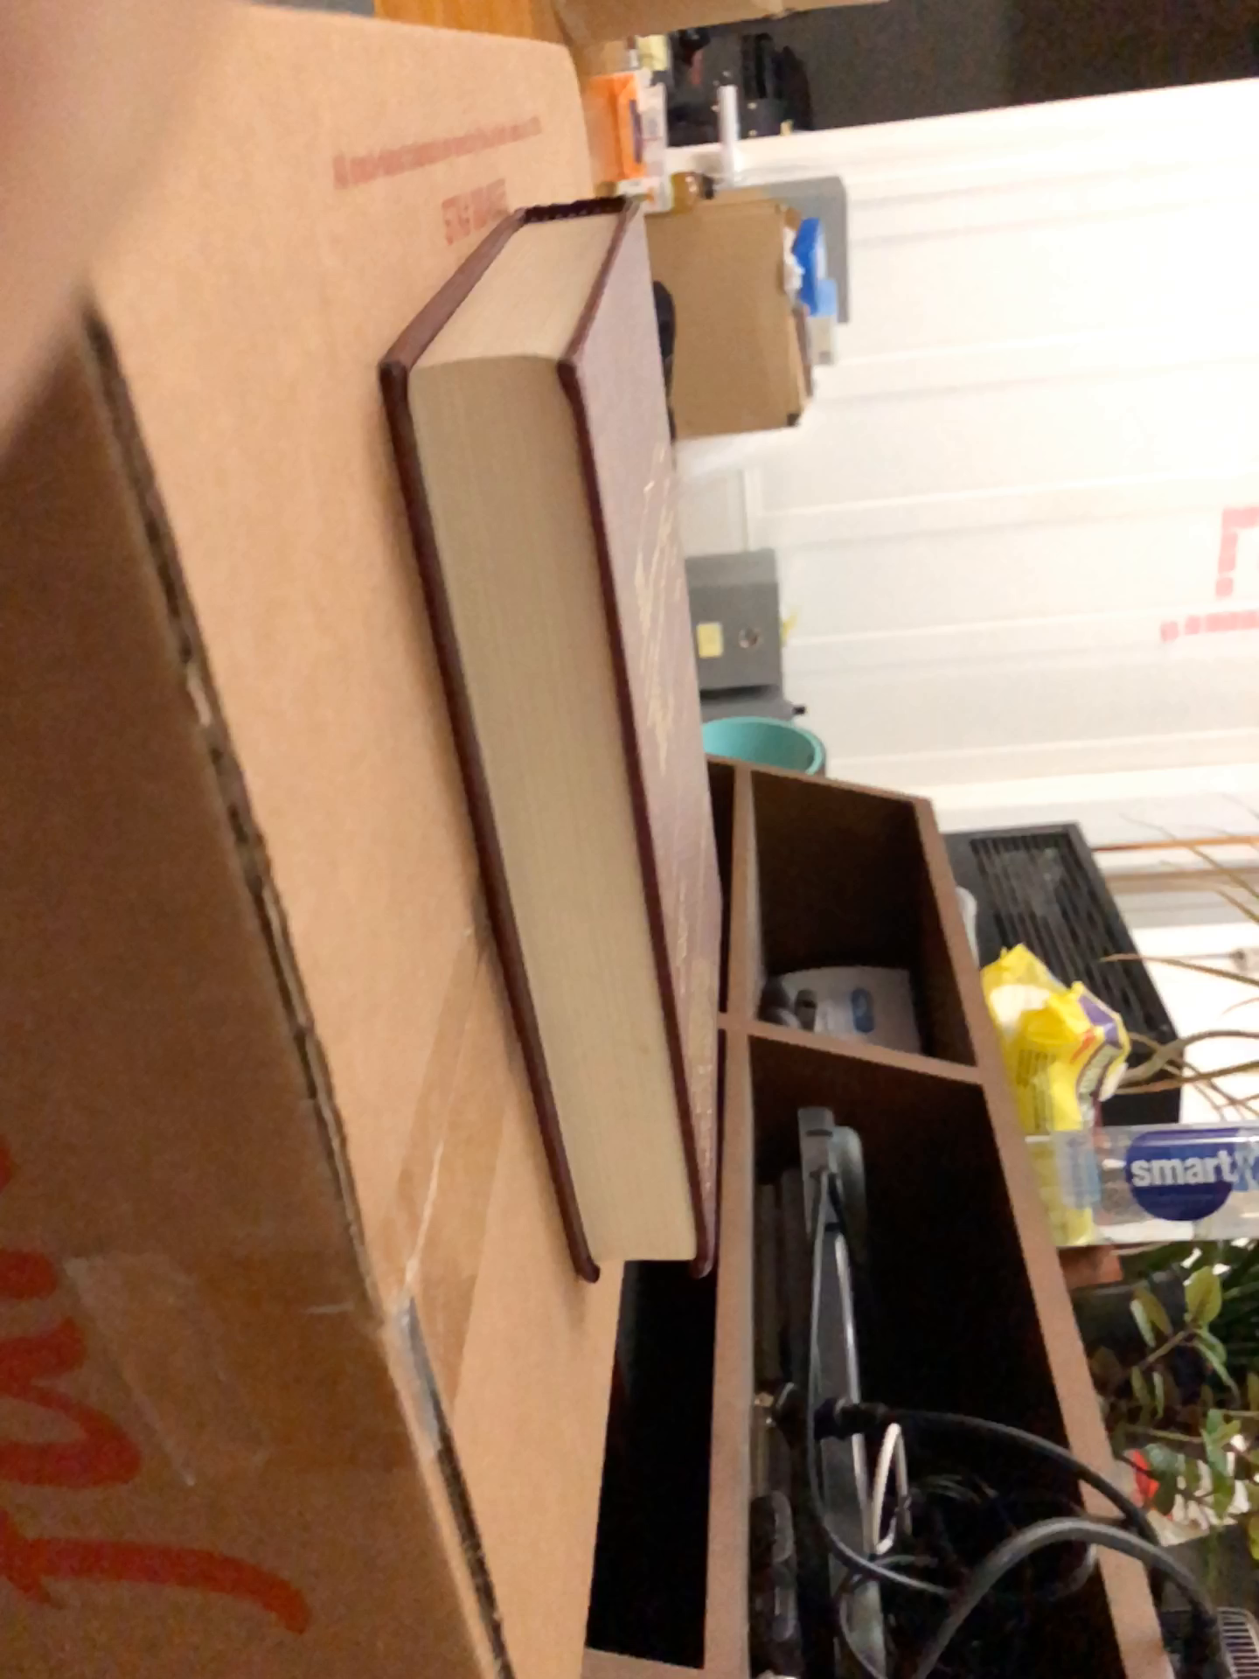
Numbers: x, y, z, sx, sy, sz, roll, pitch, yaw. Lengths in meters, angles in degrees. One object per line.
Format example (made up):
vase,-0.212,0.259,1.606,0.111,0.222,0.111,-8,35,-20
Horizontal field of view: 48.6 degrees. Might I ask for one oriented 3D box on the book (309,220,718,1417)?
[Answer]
book,-0.009,-0.012,0.357,0.190,0.040,0.240,-83,167,-58
